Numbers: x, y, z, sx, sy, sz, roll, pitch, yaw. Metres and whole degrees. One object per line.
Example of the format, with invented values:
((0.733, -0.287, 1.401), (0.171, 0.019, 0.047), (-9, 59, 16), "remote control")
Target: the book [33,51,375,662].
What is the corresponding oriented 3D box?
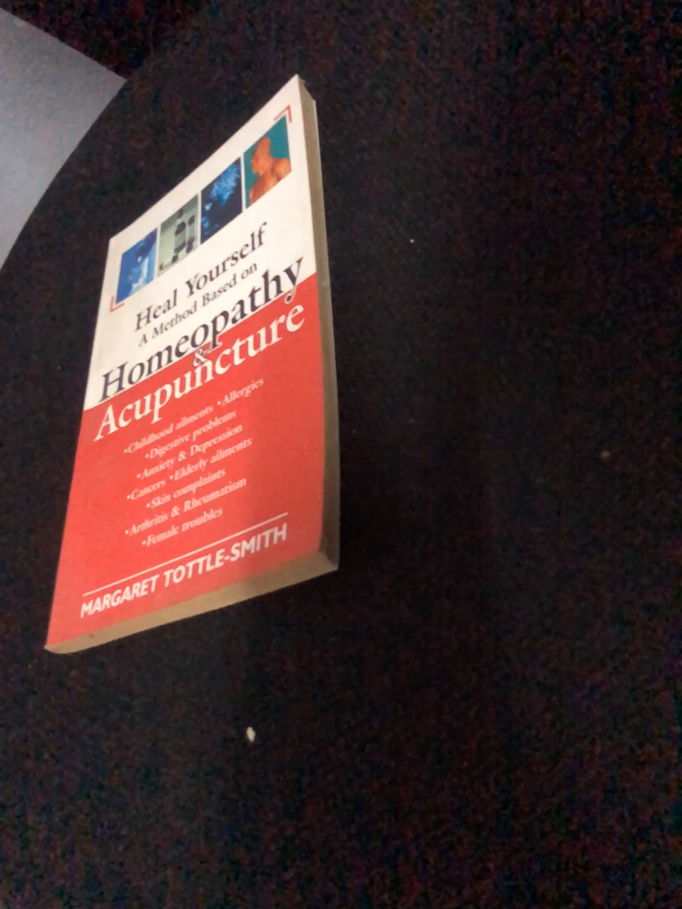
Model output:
((-0.057, -0.041, 0.306), (0.150, 0.020, 0.220), (-23, 55, 34), "book")
